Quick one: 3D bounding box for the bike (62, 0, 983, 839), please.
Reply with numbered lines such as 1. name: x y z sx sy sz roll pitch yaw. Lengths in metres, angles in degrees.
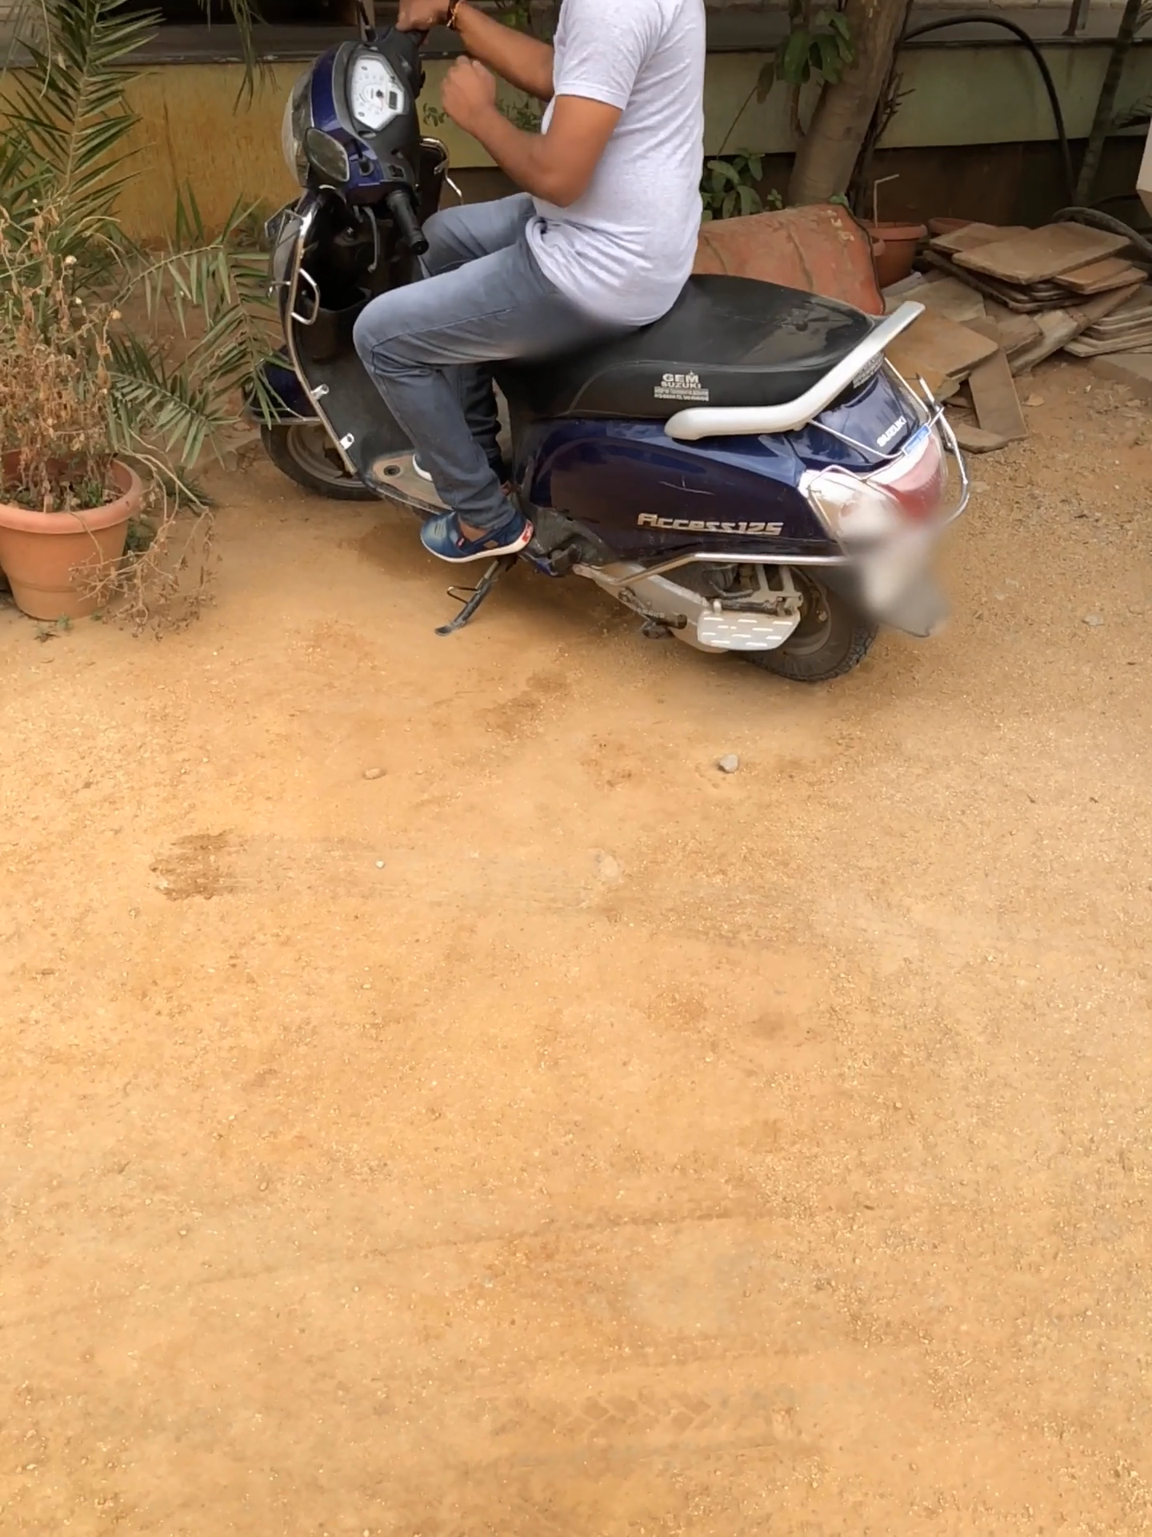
1. bike: -0.150 -0.817 2.526 1.622 1.221 0.591 22 39 27
